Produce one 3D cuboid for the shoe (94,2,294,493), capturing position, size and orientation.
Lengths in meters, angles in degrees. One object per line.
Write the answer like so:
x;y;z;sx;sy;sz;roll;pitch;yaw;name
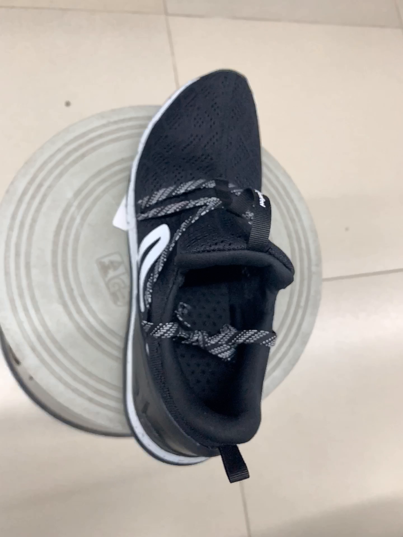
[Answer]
-0.008;-0.019;0.288;0.100;0.090;0.290;5;73;-13;shoe
